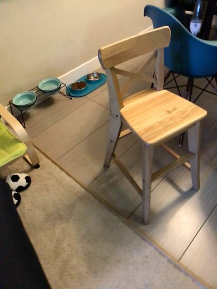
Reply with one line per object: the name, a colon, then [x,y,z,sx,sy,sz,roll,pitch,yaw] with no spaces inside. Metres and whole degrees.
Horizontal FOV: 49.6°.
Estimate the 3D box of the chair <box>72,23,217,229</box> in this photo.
chair: [0.188,-0.079,1.082,0.441,0.685,0.492,-25,49,-20]
